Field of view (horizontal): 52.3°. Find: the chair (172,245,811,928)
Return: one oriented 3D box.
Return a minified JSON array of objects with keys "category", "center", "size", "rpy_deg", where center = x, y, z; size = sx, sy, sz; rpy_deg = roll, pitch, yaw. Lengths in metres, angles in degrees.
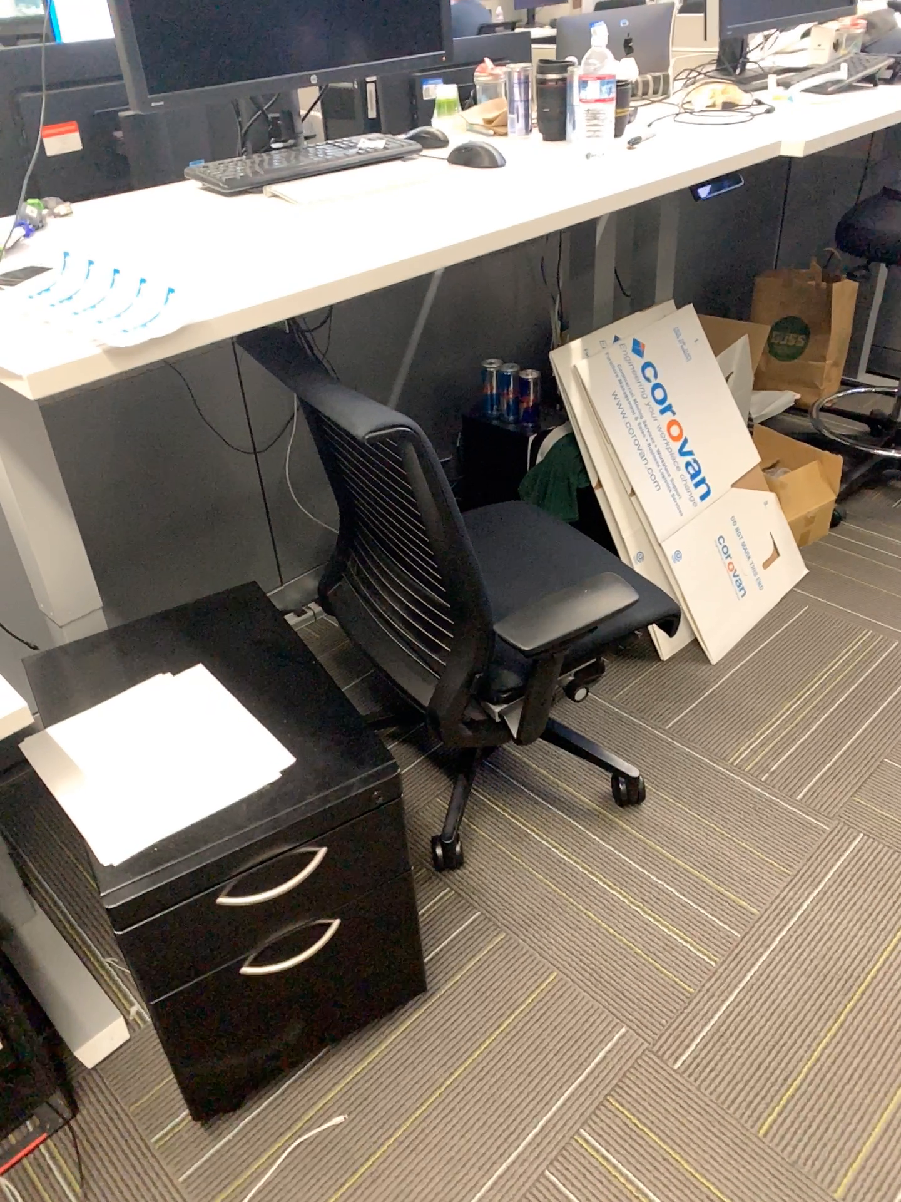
[{"category":"chair","center":[0.033,-0.097,1.697],"size":[0.720,0.805,0.784],"rpy_deg":[-20,38,-22]}]
